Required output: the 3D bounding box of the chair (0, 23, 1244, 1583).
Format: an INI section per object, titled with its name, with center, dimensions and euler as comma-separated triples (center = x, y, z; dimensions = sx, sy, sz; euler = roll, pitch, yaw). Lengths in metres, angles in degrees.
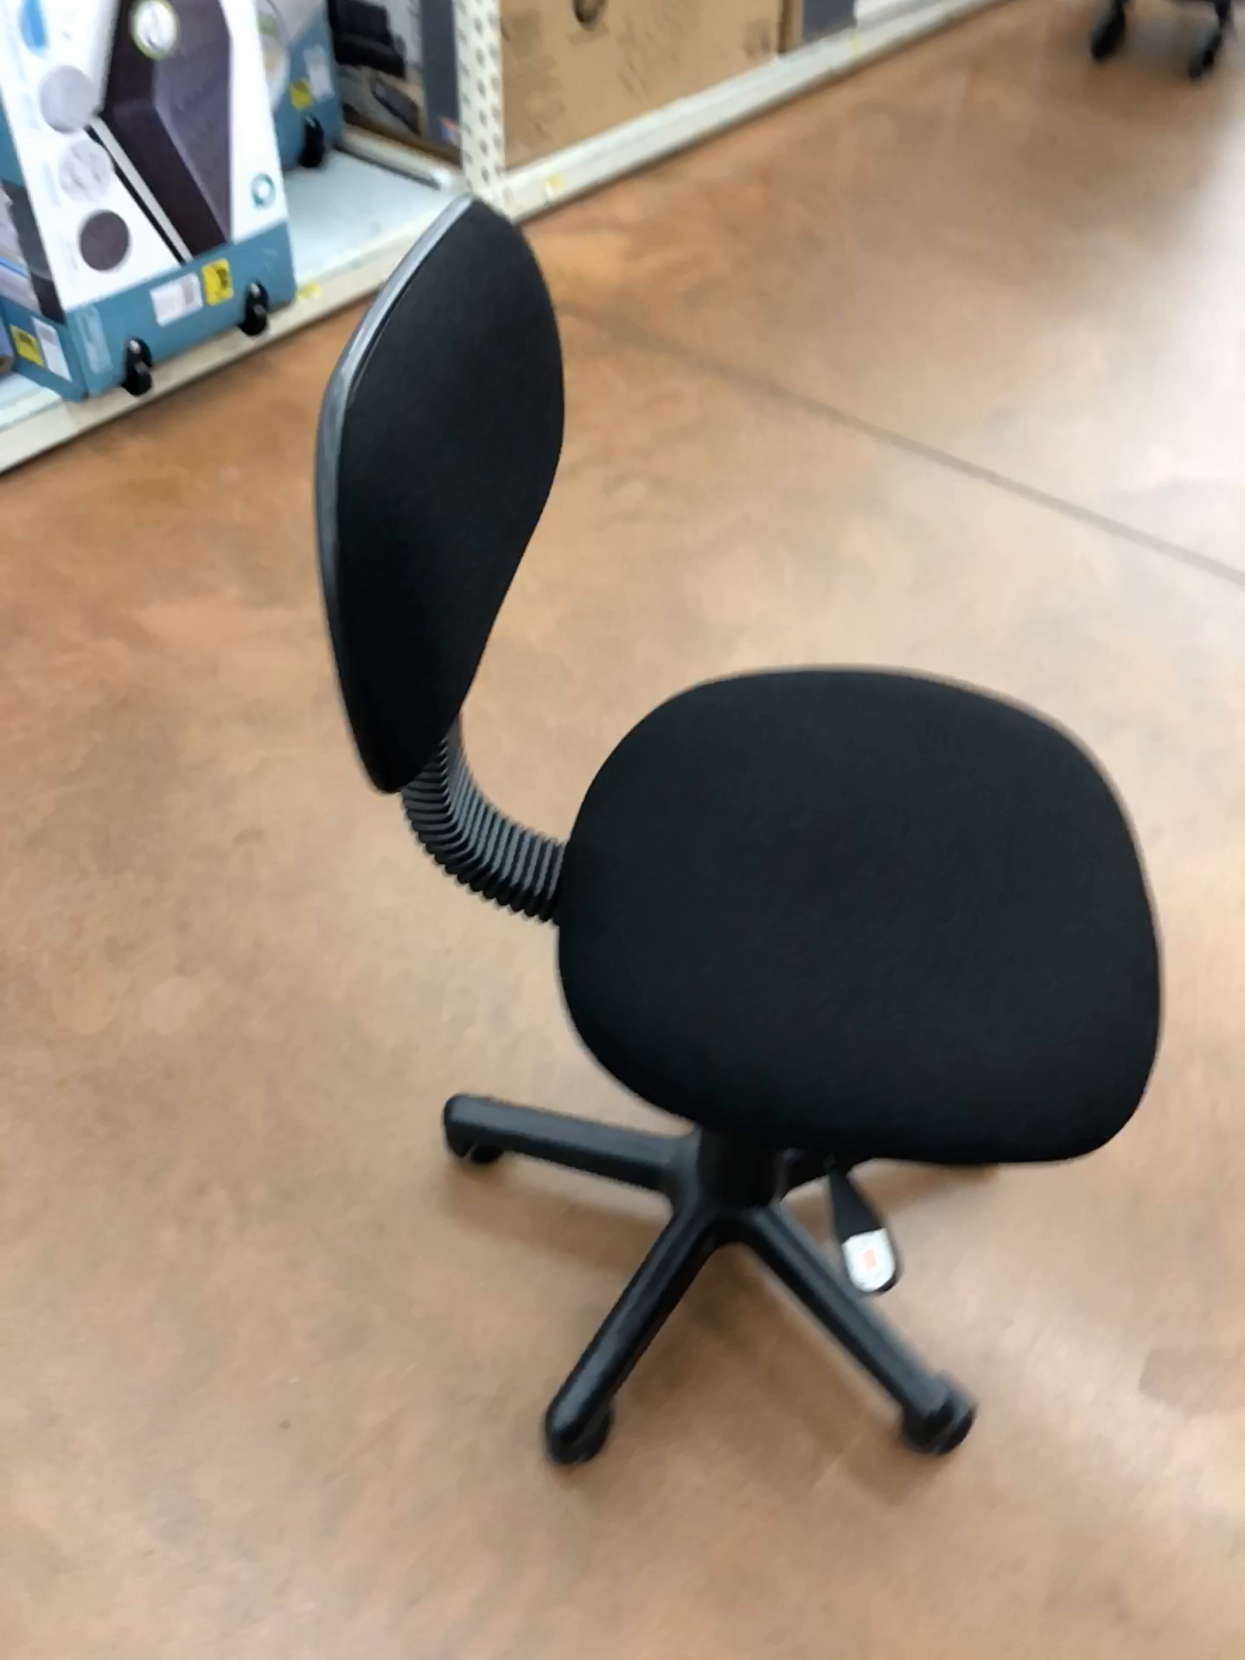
[chair]
center = 0.119, -0.009, 0.990
dimensions = 0.660, 0.797, 0.673
euler = 8, 46, 6
